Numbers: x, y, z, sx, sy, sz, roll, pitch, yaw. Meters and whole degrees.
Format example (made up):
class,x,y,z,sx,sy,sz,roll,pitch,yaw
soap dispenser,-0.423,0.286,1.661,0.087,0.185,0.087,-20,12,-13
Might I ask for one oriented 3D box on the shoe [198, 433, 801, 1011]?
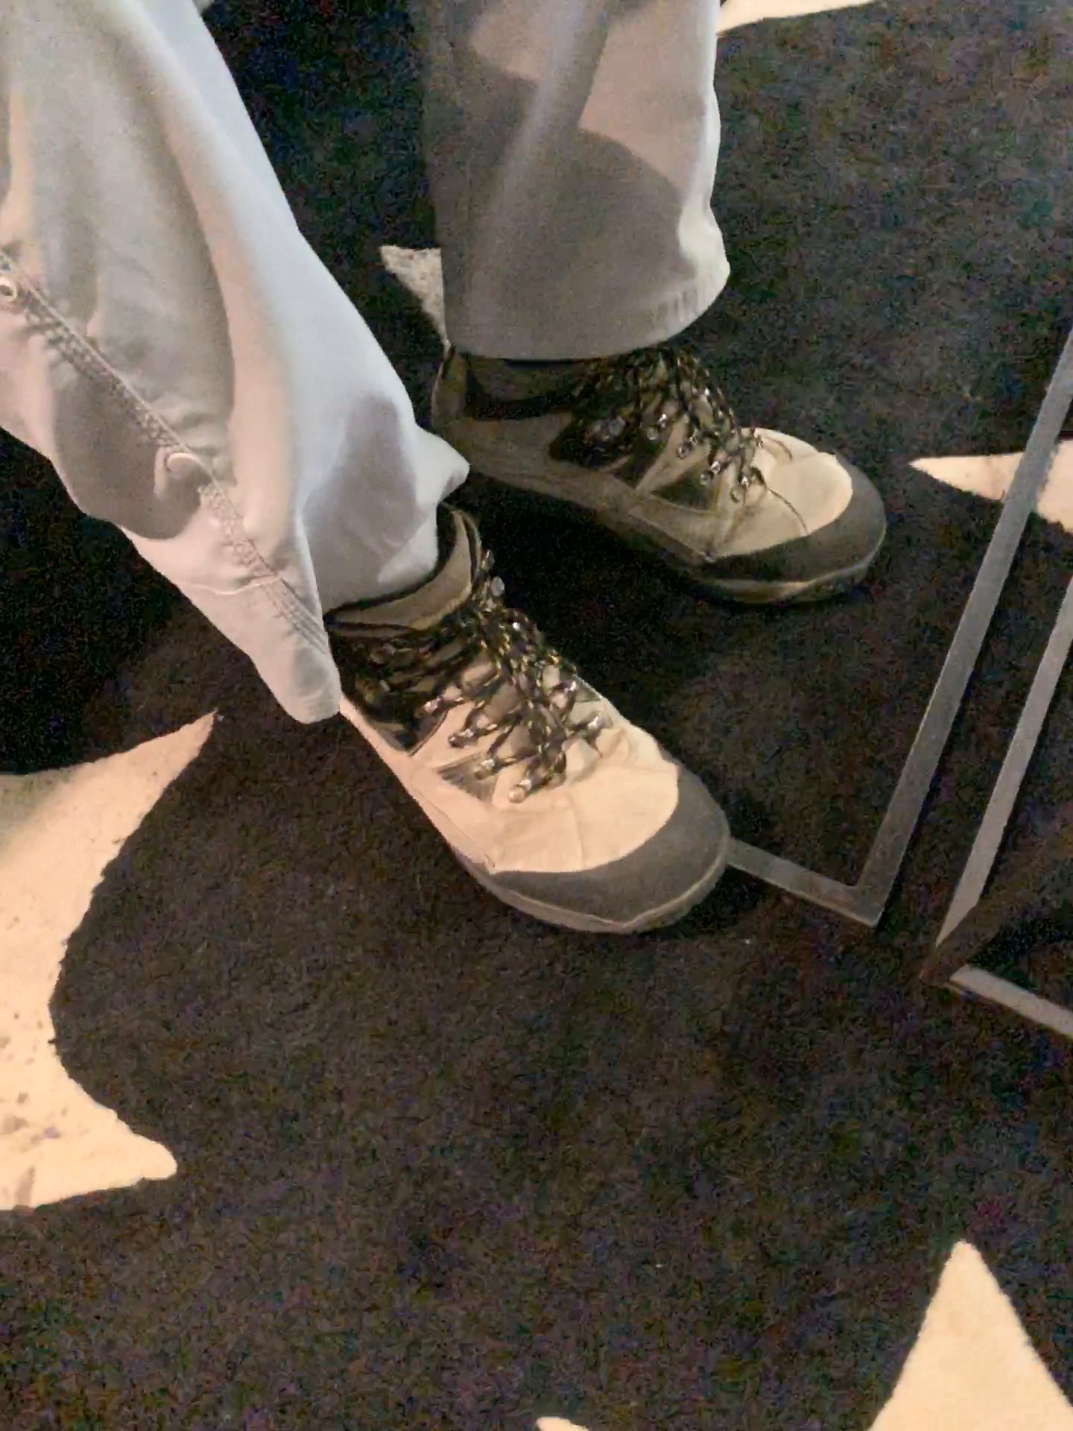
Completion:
class,x,y,z,sx,sy,sz,roll,pitch,yaw
shoe,-0.025,-0.003,0.567,0.285,0.090,0.123,41,69,18

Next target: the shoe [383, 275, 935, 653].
class,x,y,z,sx,sy,sz,roll,pitch,yaw
shoe,0.071,-0.162,0.689,0.304,0.080,0.121,23,63,14
